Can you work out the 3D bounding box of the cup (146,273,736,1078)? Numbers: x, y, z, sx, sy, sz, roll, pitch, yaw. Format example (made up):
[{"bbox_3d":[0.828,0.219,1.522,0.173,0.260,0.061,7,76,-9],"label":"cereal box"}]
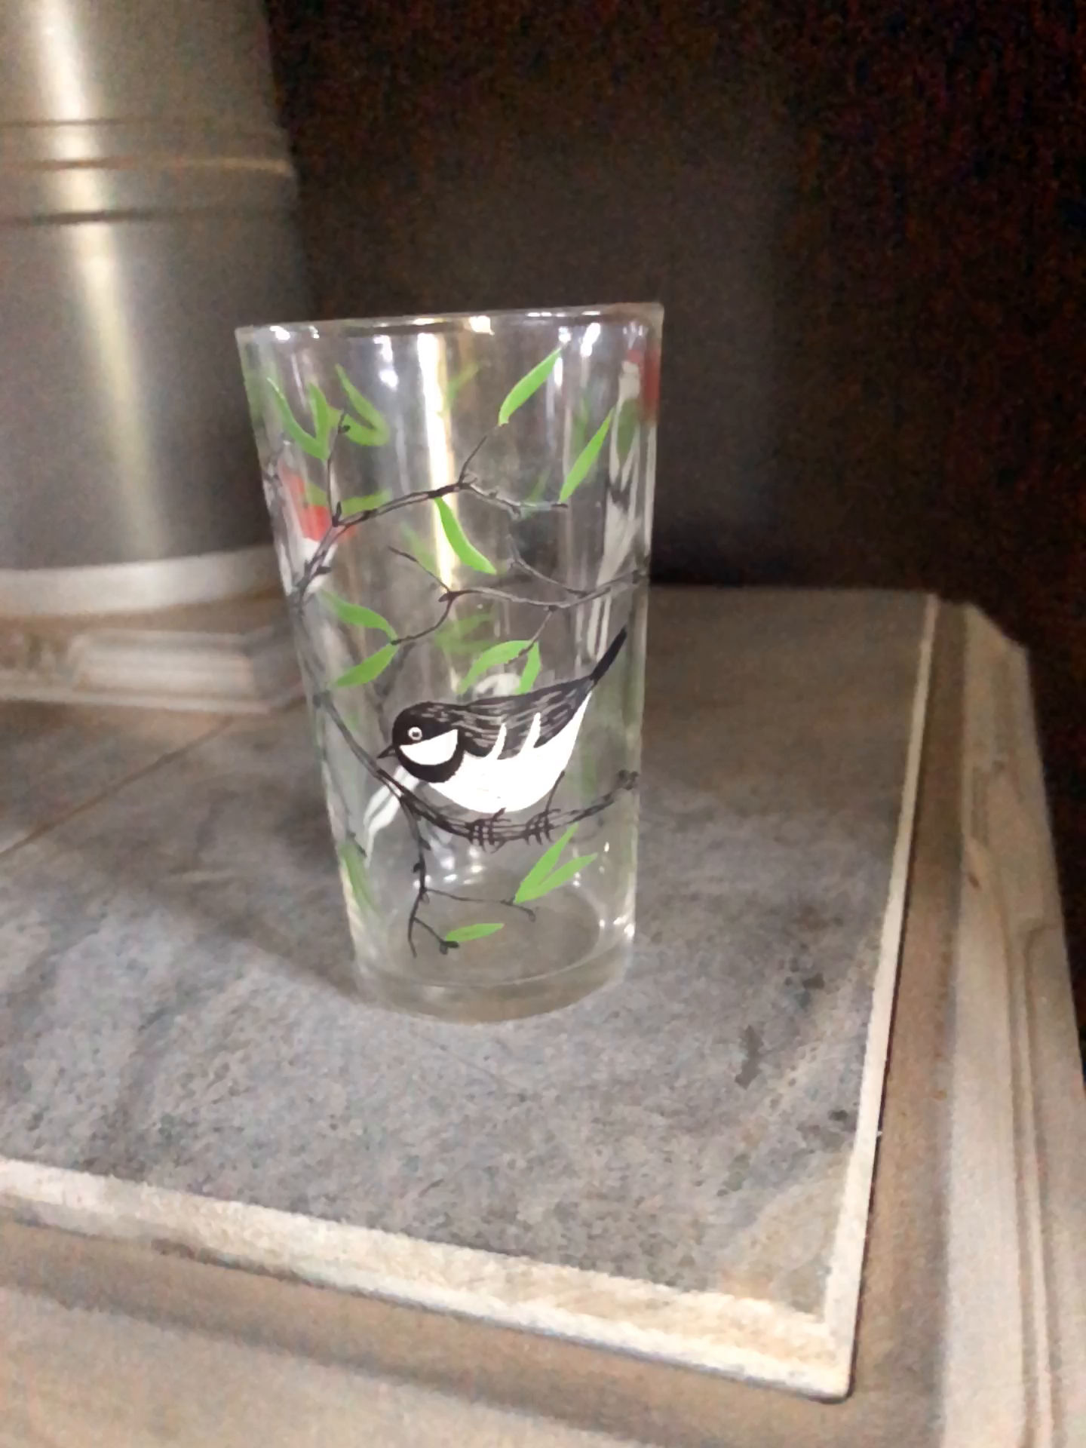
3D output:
[{"bbox_3d":[-0.015,-0.015,0.206,0.060,0.110,0.070,-19,23,-39],"label":"cup"}]
